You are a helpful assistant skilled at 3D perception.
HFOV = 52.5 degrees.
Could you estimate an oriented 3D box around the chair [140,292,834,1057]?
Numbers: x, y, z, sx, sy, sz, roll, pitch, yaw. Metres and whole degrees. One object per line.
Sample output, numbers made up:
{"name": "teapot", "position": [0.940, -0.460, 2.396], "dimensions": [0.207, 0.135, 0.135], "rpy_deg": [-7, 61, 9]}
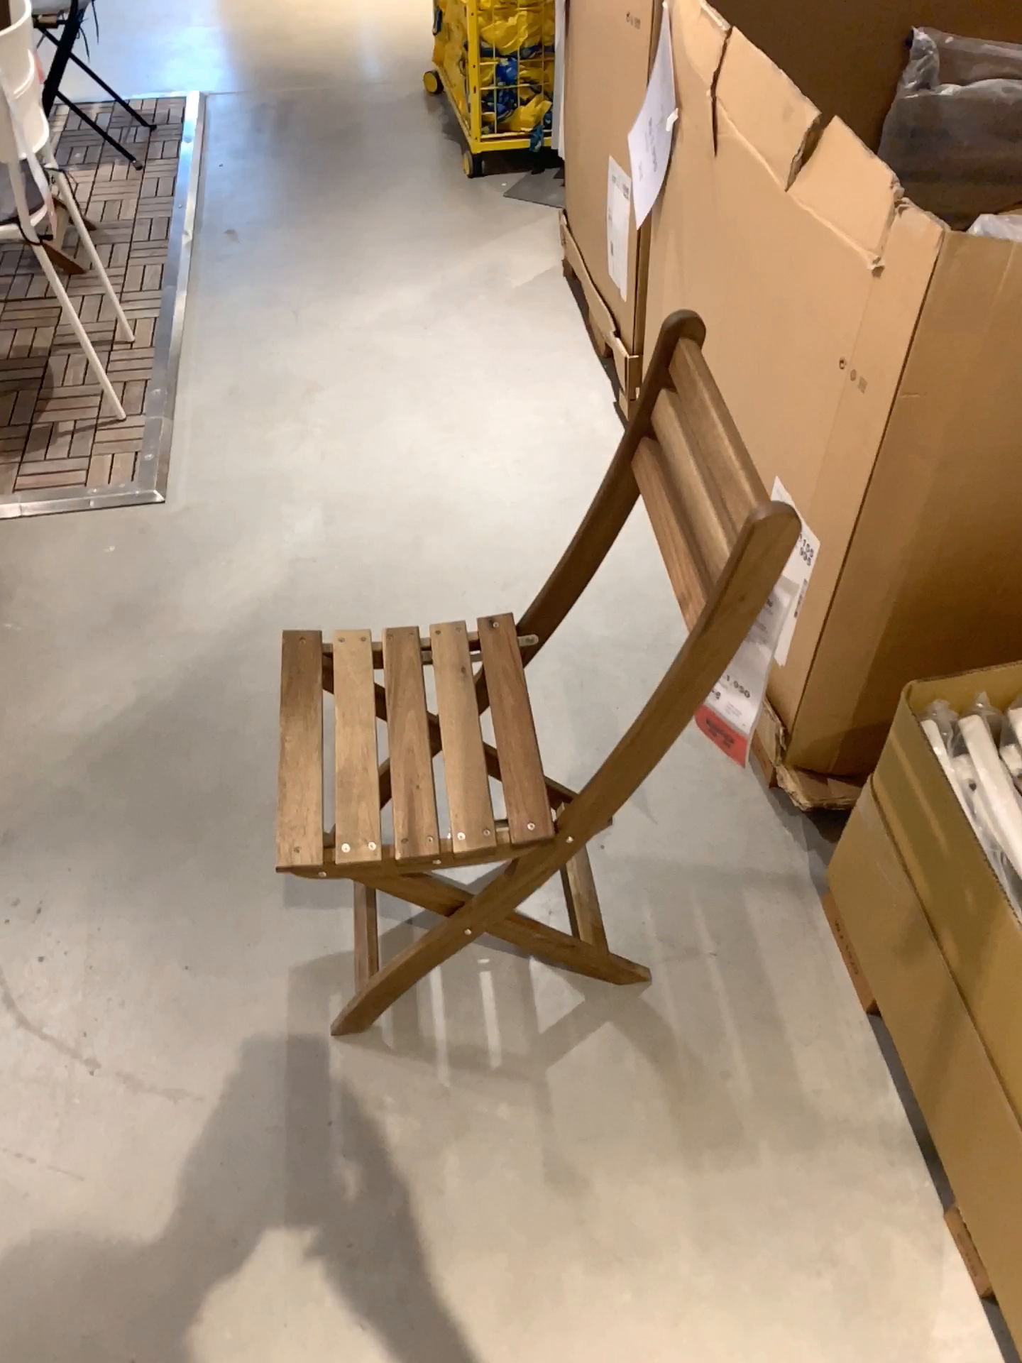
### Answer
{"name": "chair", "position": [-0.035, 0.037, 1.174], "dimensions": [0.510, 0.767, 0.402], "rpy_deg": [-6, 47, -5]}
